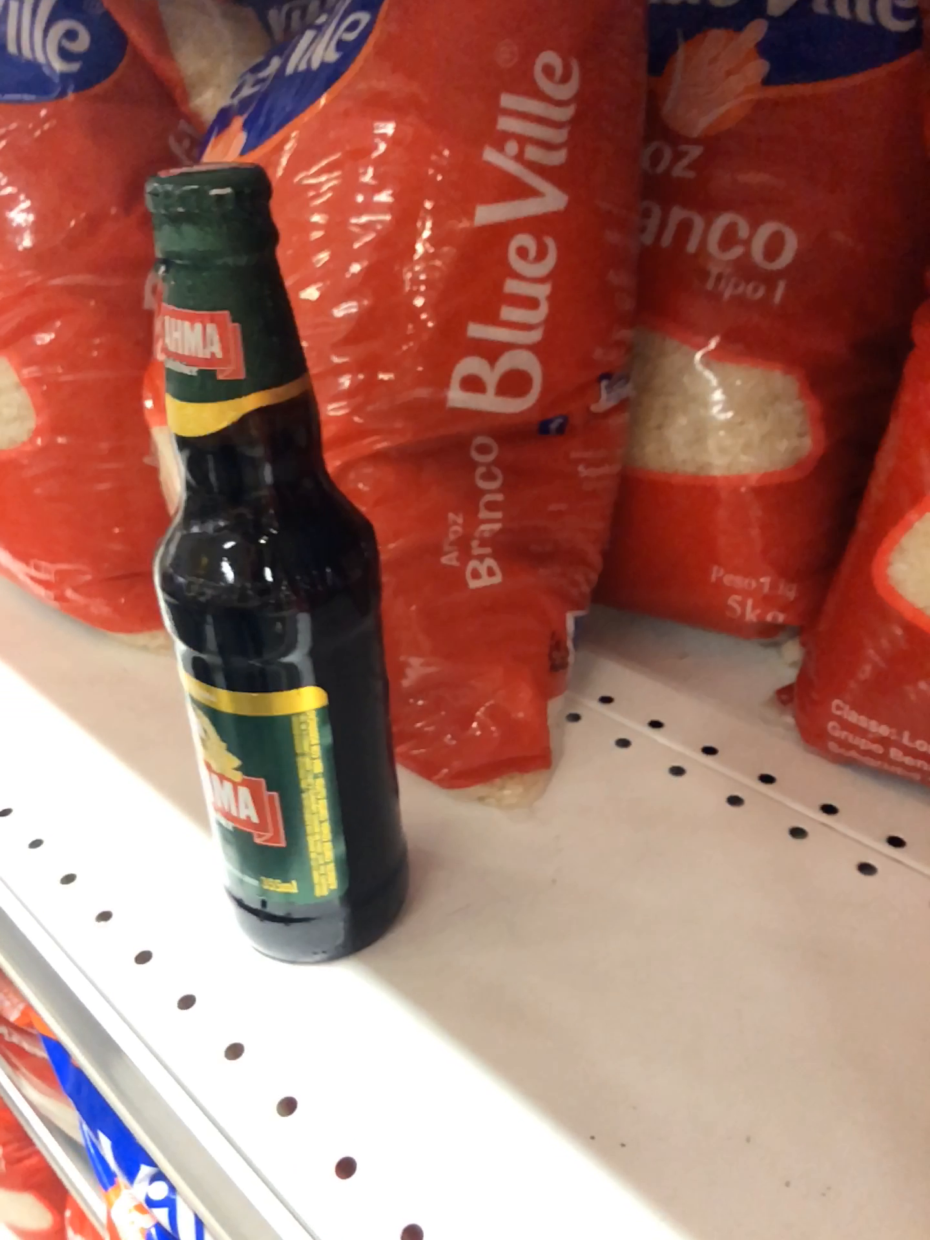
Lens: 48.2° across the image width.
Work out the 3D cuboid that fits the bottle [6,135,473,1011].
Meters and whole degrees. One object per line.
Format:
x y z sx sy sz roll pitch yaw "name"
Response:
-0.051 -0.004 0.290 0.060 0.228 0.070 -28 40 -32 "bottle"
